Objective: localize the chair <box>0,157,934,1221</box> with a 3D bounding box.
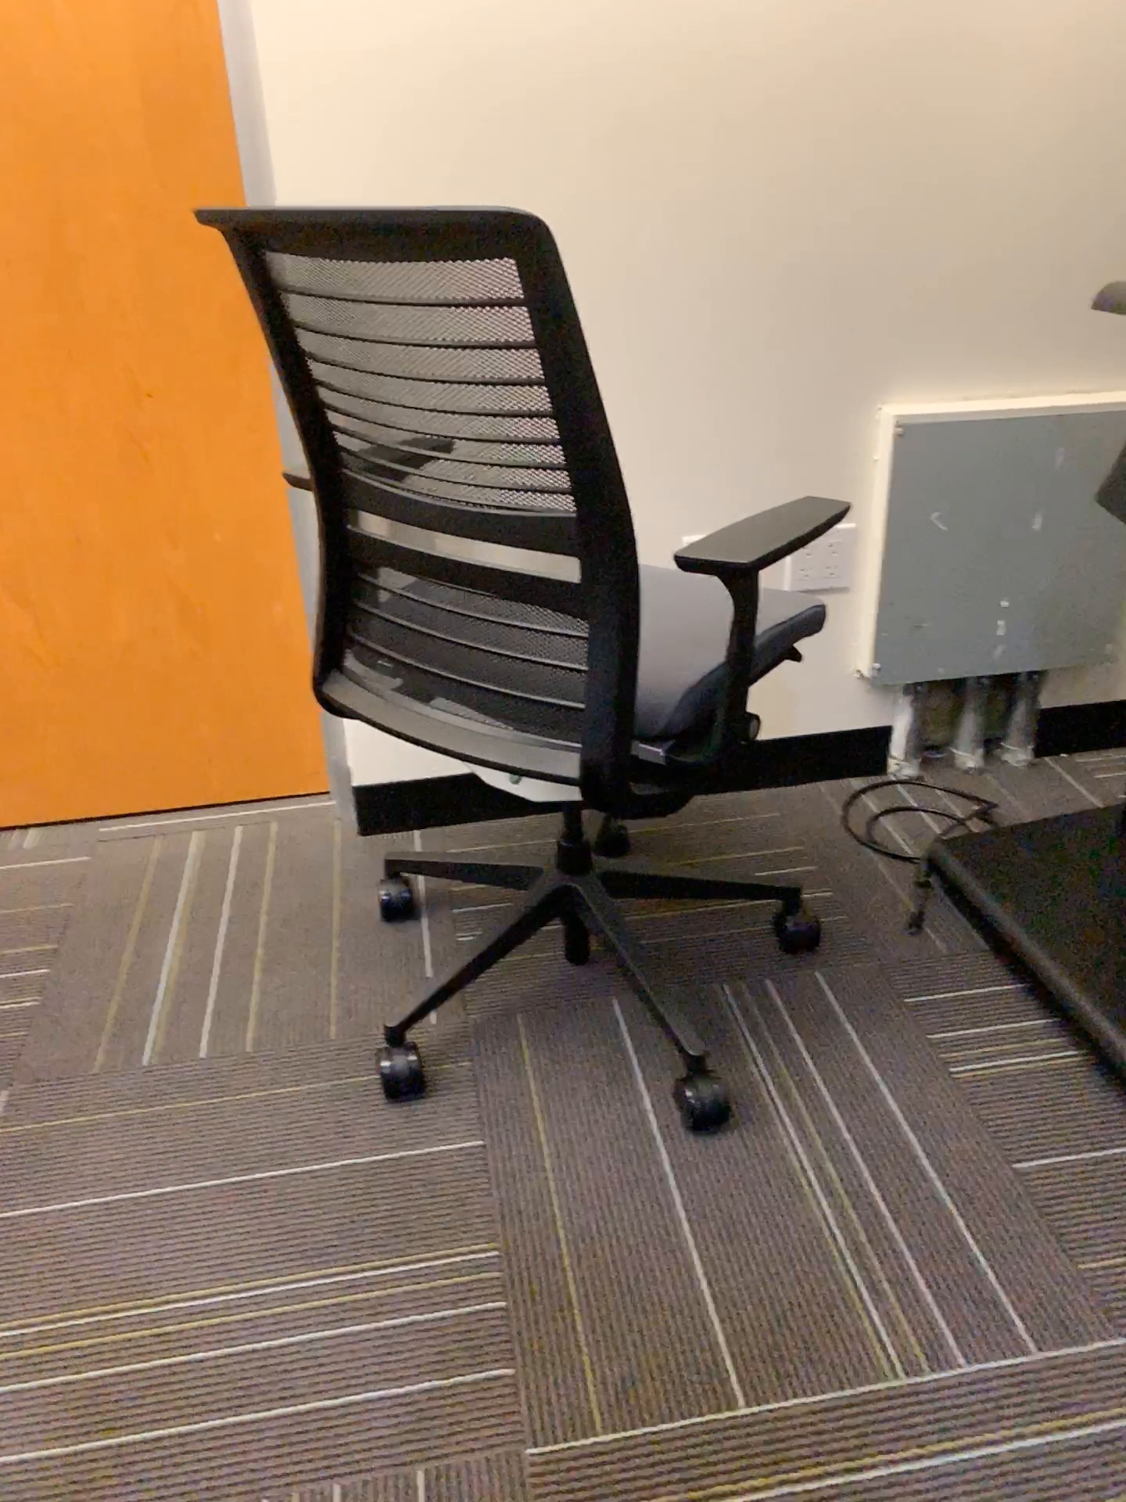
[{"bbox_3d":[-0.030,-0.173,1.452,0.741,0.994,0.783,10,30,22],"label":"chair"}]
